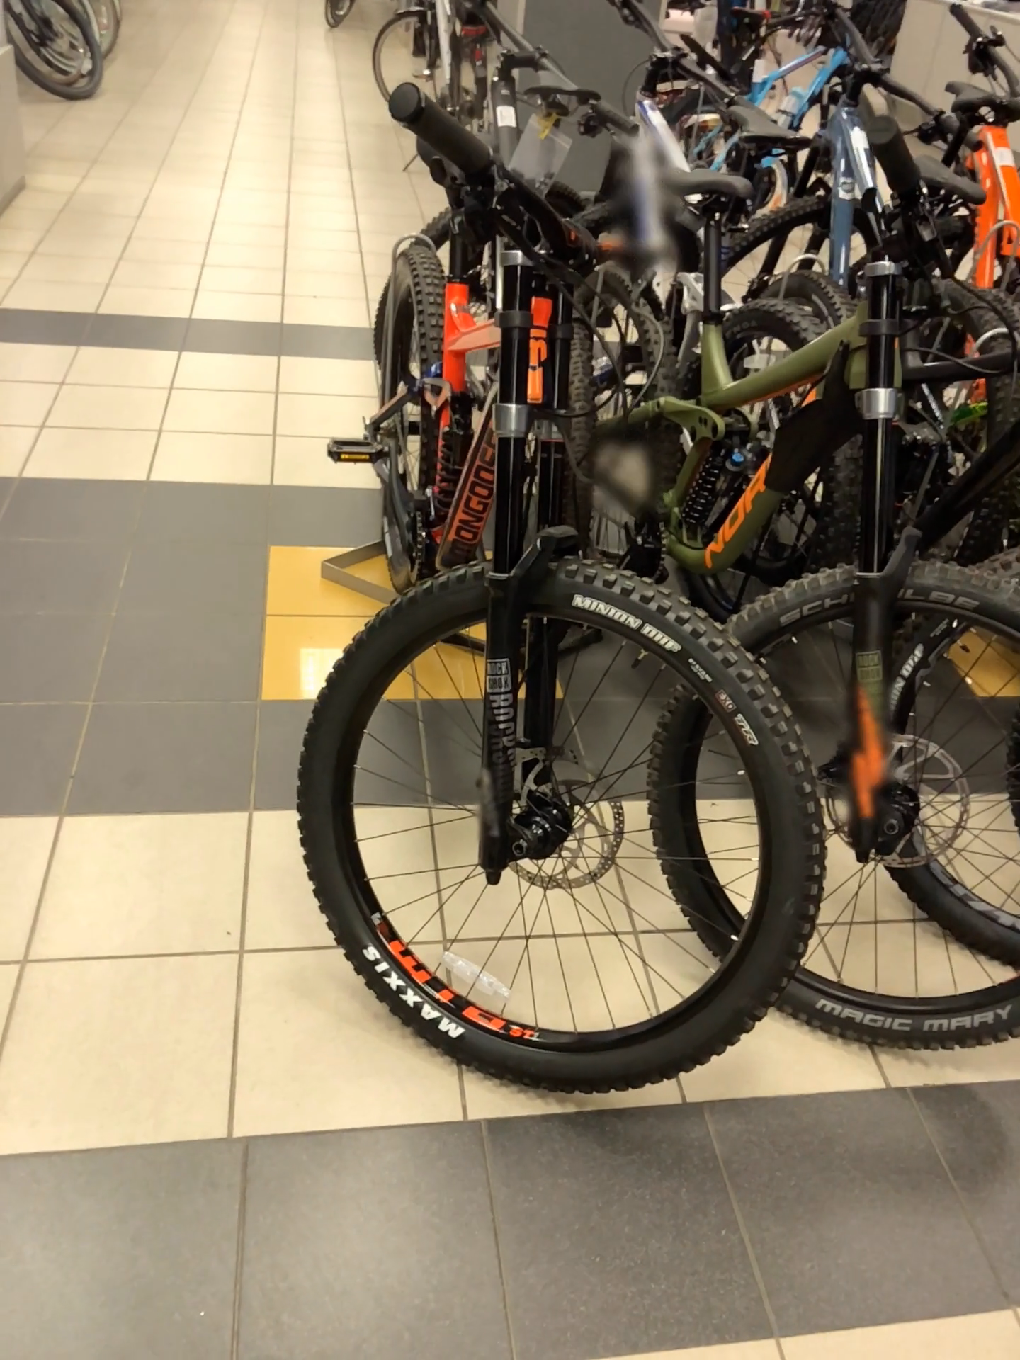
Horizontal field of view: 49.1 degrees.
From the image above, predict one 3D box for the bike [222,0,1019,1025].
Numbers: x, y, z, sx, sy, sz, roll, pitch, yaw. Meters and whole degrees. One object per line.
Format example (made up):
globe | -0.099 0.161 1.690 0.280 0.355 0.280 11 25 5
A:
bike | 0.115 -0.462 1.833 0.801 1.109 1.705 -6 34 -19
